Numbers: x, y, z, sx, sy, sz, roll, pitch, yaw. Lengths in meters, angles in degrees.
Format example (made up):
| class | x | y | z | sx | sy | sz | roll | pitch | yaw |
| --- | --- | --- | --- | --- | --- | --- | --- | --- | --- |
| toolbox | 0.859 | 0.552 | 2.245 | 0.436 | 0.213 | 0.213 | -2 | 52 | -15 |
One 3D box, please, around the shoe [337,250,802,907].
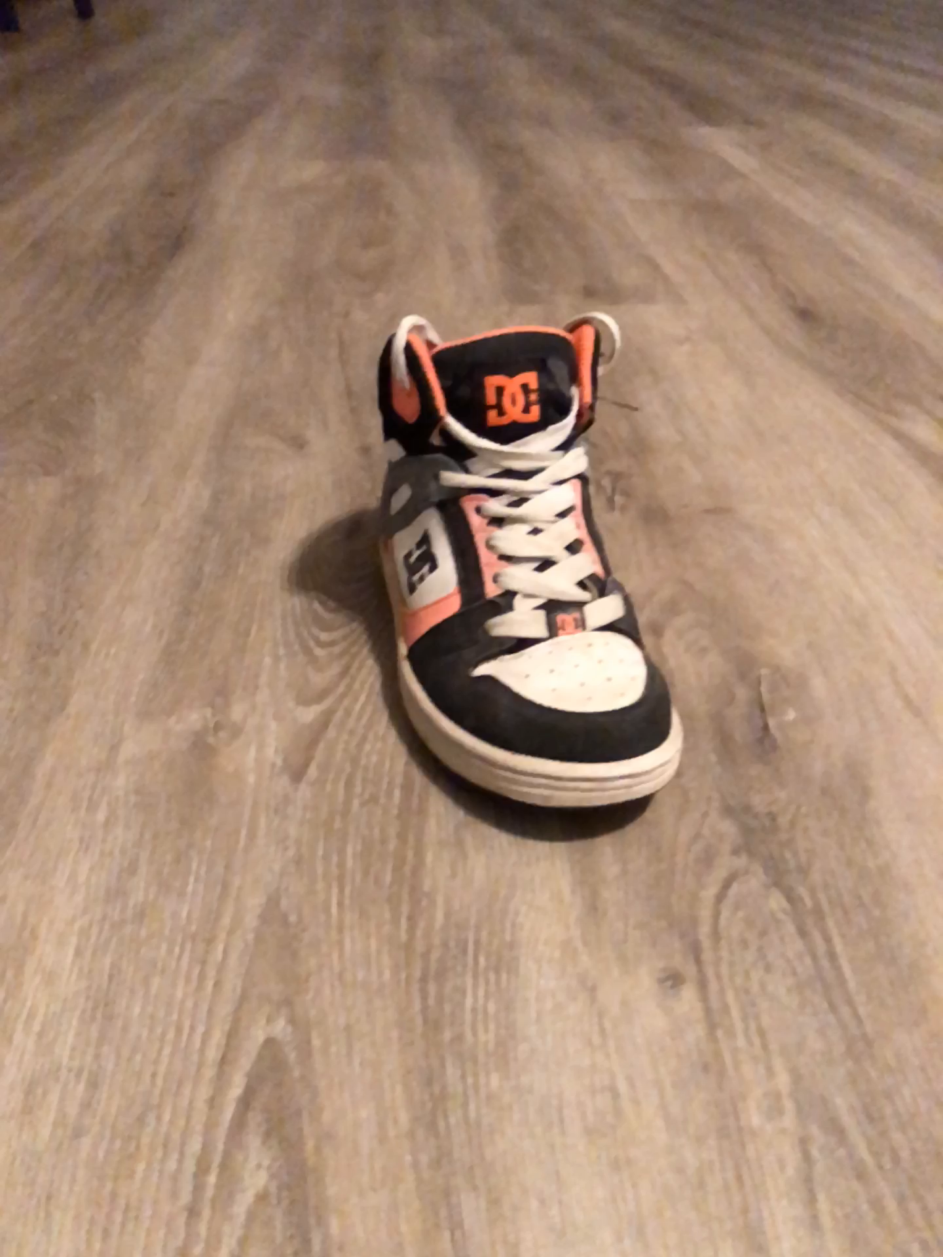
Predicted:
| class | x | y | z | sx | sy | sz | roll | pitch | yaw |
| --- | --- | --- | --- | --- | --- | --- | --- | --- | --- |
| shoe | 0.013 | -0.040 | 0.403 | 0.090 | 0.139 | 0.241 | -7 | 35 | -12 |
